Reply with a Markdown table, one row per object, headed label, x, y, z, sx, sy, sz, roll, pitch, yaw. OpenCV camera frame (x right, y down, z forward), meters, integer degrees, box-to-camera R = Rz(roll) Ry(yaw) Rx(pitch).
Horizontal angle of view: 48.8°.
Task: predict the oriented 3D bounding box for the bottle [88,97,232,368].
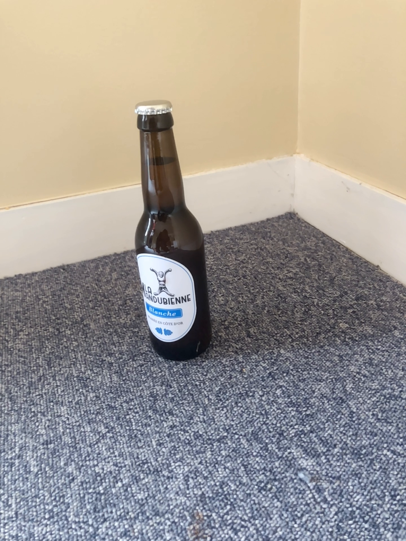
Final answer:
| label | x | y | z | sx | sy | sz | roll | pitch | yaw |
| --- | --- | --- | --- | --- | --- | --- | --- | --- | --- |
| bottle | -0.025 | -0.028 | 0.374 | 0.070 | 0.209 | 0.070 | -4 | 29 | 2 |
